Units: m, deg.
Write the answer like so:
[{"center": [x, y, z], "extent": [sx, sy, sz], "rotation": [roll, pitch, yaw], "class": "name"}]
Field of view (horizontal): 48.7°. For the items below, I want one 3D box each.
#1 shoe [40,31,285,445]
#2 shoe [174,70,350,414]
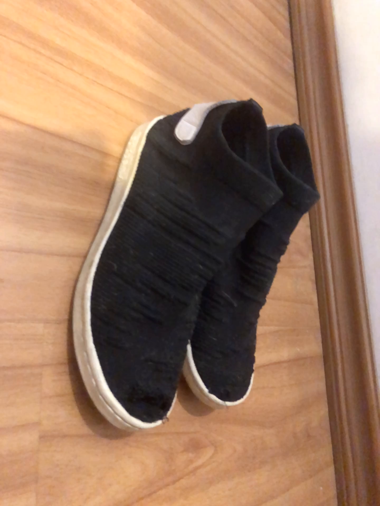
[{"center": [-0.007, -0.009, 0.311], "extent": [0.101, 0.099, 0.260], "rotation": [27, 62, -40], "class": "shoe"}, {"center": [0.063, -0.003, 0.371], "extent": [0.101, 0.099, 0.260], "rotation": [17, 68, -43], "class": "shoe"}]
